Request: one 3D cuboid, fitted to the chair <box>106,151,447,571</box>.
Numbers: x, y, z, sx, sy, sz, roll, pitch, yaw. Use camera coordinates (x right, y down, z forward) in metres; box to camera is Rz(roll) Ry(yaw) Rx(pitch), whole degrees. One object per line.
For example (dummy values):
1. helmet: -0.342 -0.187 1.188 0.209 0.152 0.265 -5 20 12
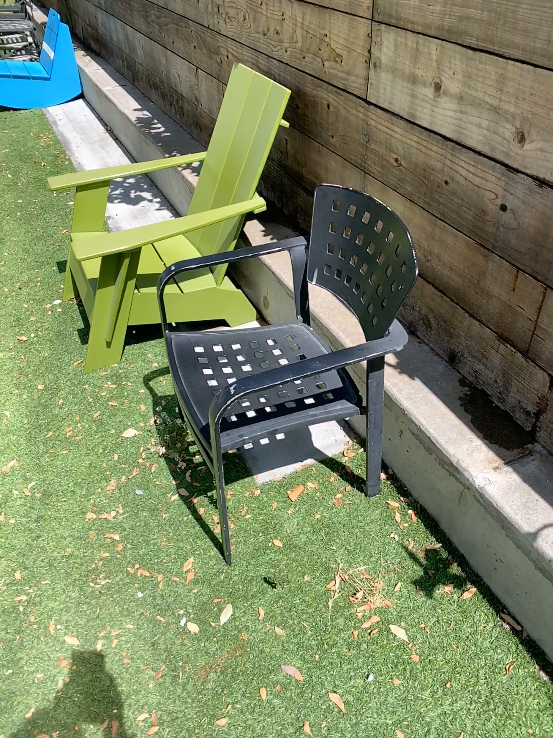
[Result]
1. chair: -0.028 -0.036 1.392 0.520 0.716 0.593 -16 42 -14
